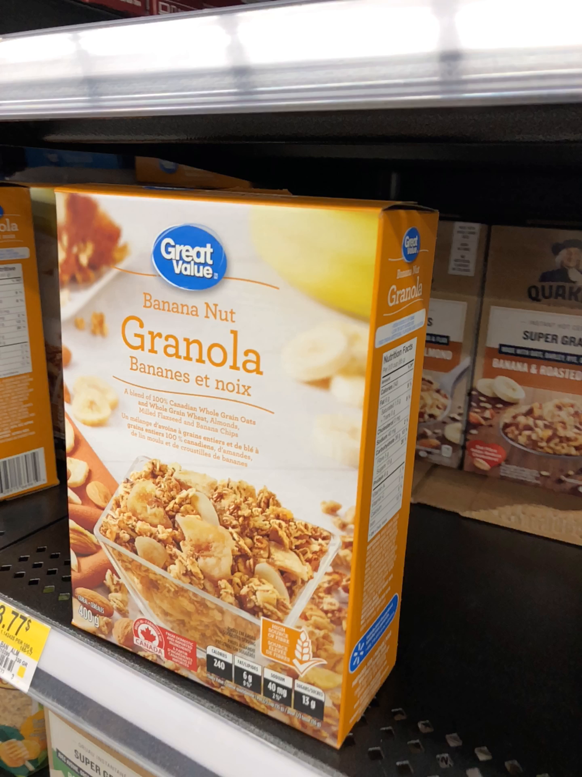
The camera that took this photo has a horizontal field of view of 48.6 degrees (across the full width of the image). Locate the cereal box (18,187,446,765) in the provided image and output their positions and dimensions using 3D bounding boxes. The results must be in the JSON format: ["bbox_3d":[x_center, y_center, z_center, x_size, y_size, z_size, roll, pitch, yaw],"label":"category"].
[{"bbox_3d":[-0.030,0.024,0.281,0.160,0.209,0.060,11,20,28],"label":"cereal box"}]
